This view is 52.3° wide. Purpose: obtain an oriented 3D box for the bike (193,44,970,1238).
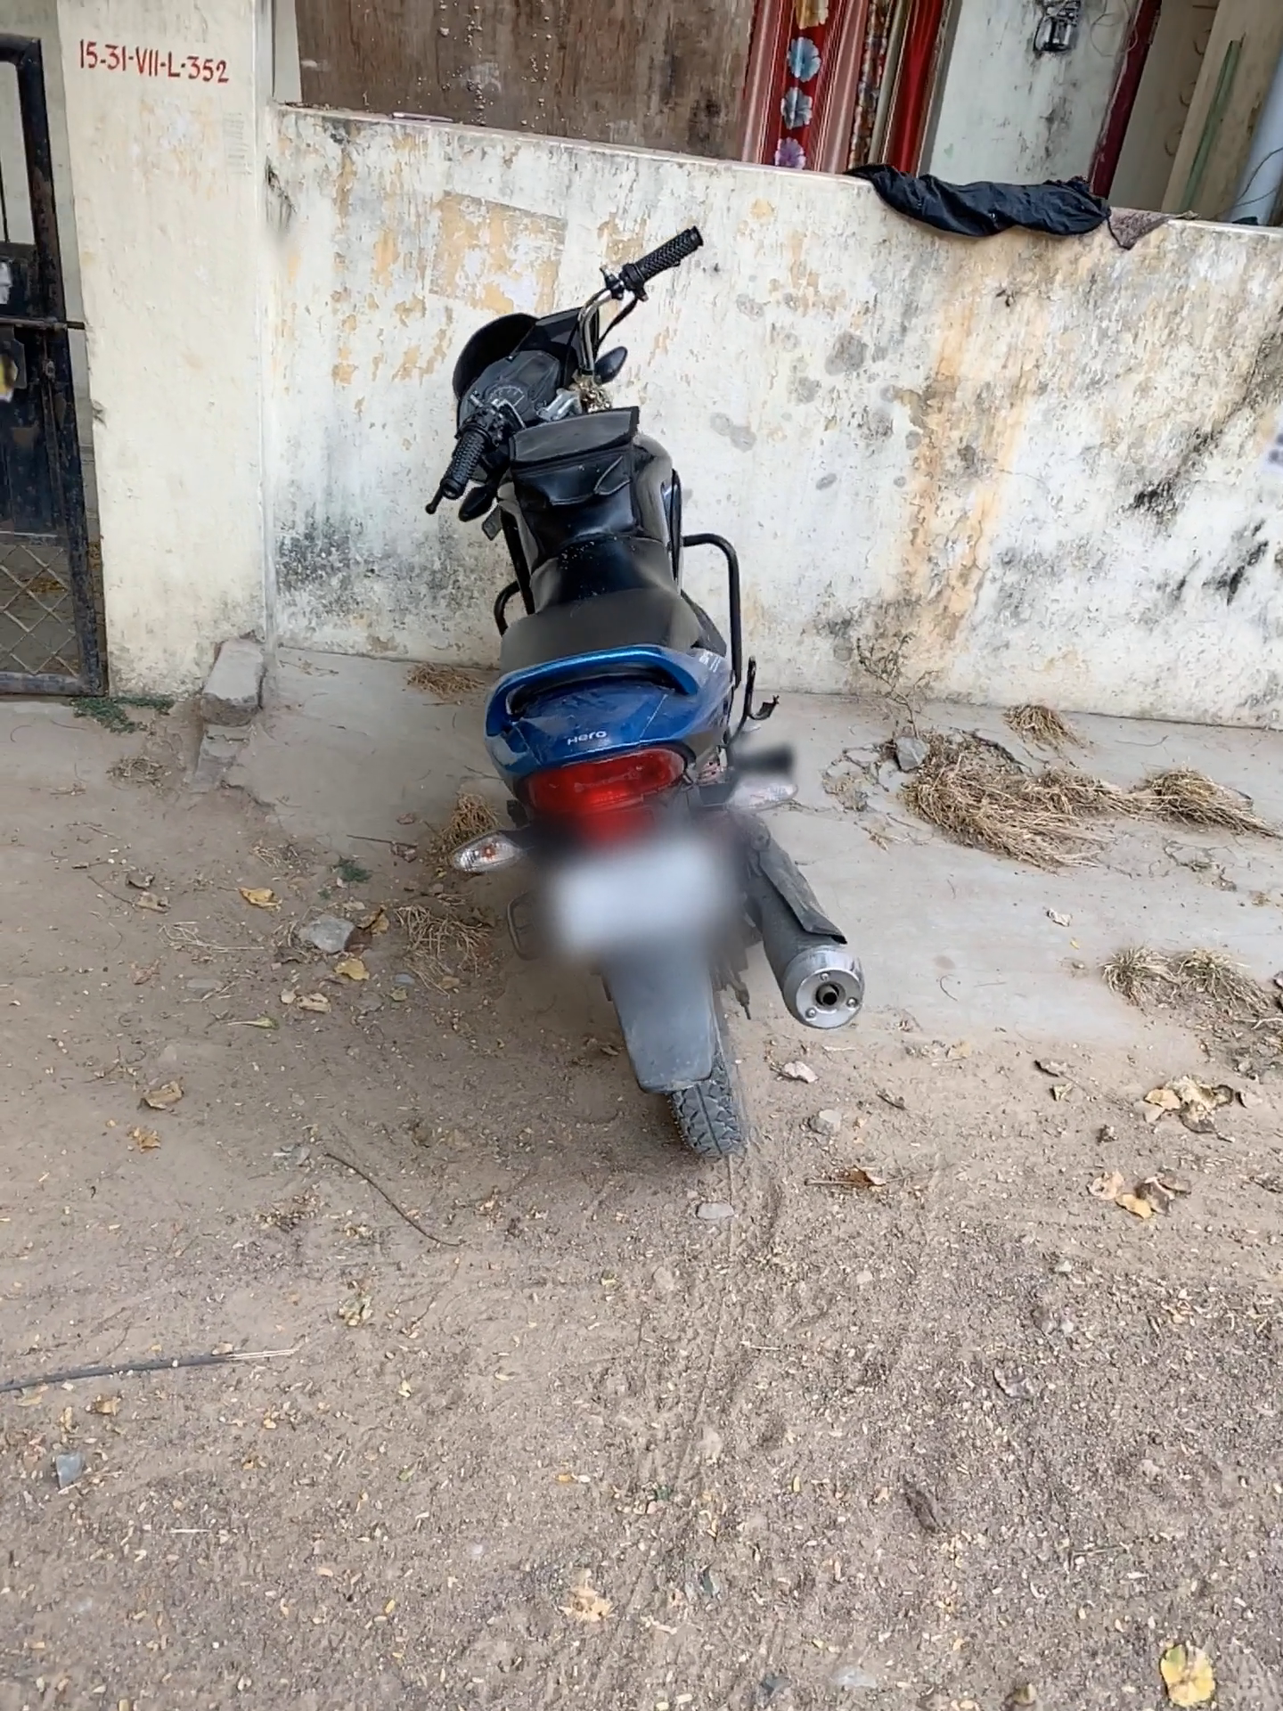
[{"bbox_3d":[-0.313,-0.511,2.231,0.754,1.233,1.712,0,34,-14],"label":"bike"}]
